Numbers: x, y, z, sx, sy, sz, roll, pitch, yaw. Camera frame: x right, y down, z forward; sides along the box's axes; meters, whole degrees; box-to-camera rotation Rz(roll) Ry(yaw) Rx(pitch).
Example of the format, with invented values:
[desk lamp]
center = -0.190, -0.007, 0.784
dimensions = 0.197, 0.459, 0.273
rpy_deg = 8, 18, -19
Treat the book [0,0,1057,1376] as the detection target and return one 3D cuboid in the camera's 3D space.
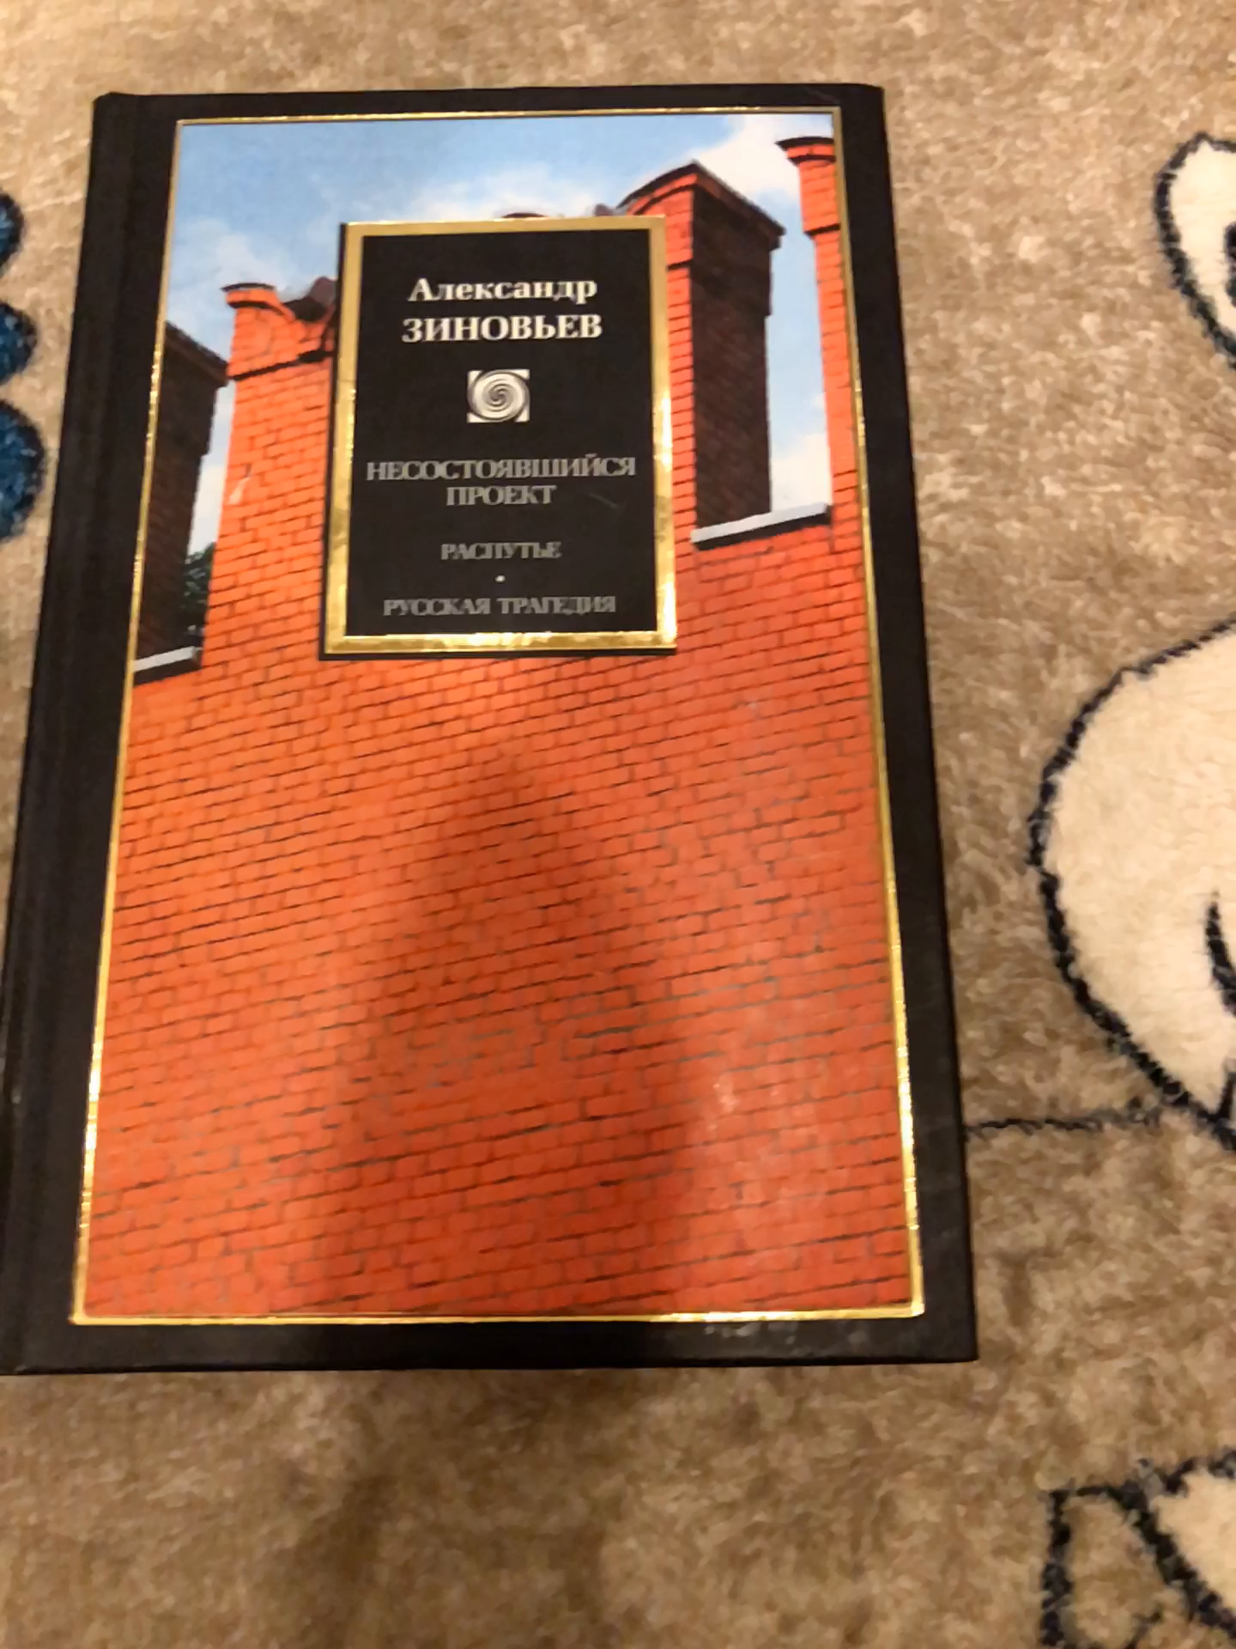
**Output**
[book]
center = -0.017, -0.030, 0.214
dimensions = 0.140, 0.040, 0.210
rpy_deg = 0, 73, 1
